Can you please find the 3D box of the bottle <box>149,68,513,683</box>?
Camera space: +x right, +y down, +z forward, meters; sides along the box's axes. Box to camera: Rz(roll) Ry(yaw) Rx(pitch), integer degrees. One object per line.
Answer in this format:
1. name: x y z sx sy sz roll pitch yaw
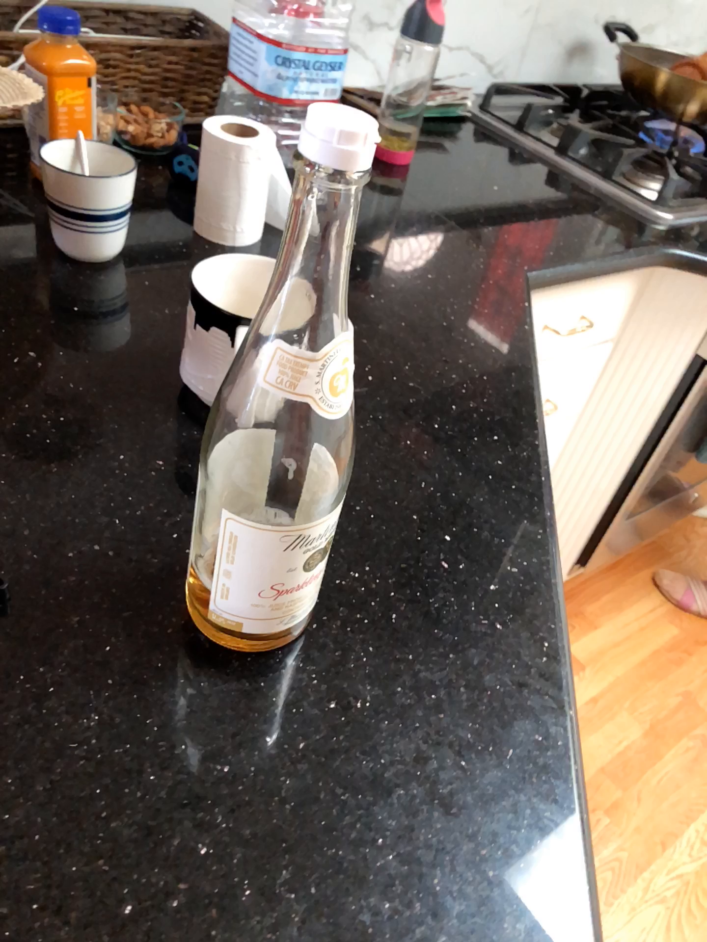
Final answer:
1. bottle: -0.029 -0.032 0.399 0.098 0.288 0.094 9 40 -8
